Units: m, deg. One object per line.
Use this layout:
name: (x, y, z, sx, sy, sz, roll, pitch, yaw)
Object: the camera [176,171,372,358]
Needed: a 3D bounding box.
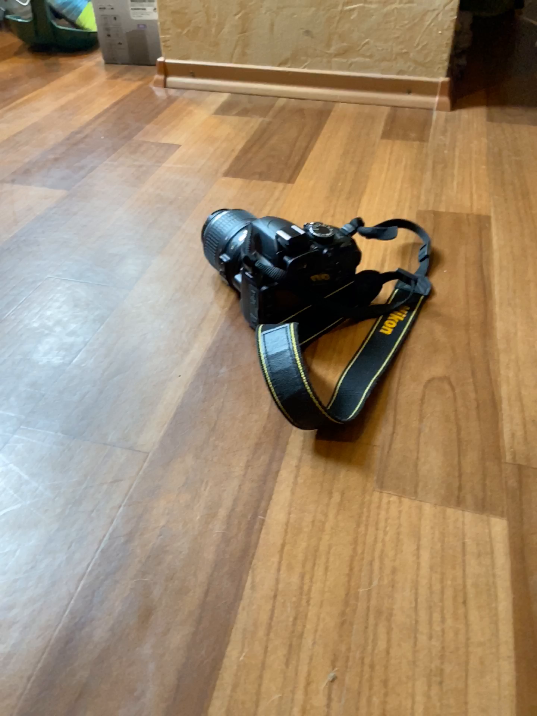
camera: (0.002, -0.102, 0.562, 0.120, 0.100, 0.153, -27, 48, -27)
